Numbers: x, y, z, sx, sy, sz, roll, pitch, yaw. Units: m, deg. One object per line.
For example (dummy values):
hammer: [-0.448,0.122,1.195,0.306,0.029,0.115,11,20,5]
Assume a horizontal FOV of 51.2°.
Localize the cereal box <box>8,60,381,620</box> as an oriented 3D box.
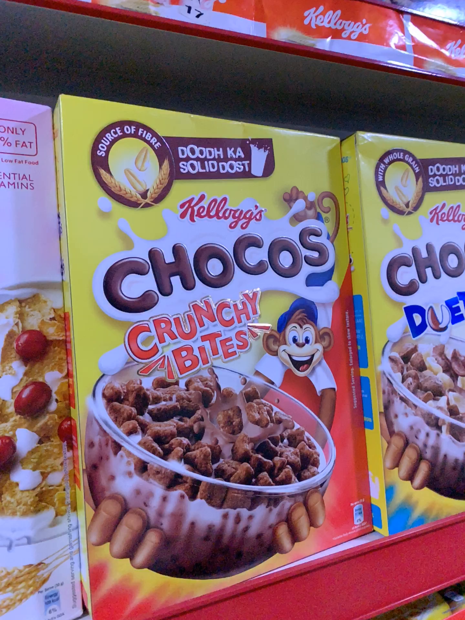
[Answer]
cereal box: [-0.018,0.018,0.292,0.190,0.260,0.080,-3,-3,-33]
